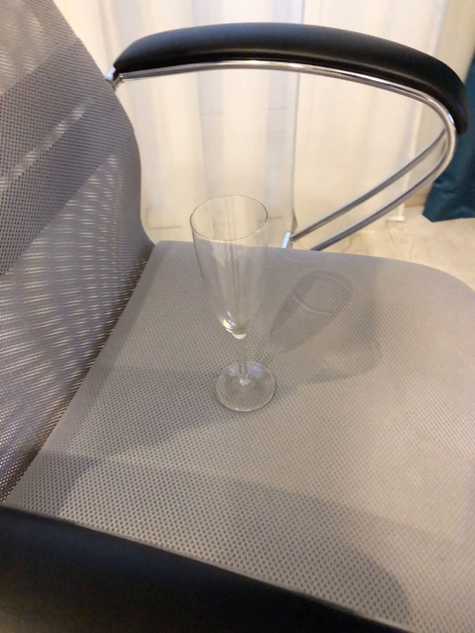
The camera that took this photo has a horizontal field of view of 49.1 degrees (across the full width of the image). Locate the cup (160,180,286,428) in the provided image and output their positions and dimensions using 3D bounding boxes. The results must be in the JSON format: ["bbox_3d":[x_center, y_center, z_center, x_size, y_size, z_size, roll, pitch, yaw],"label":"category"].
[{"bbox_3d":[-0.004,-0.001,0.485,0.074,0.228,0.075,-2,45,2],"label":"cup"}]
